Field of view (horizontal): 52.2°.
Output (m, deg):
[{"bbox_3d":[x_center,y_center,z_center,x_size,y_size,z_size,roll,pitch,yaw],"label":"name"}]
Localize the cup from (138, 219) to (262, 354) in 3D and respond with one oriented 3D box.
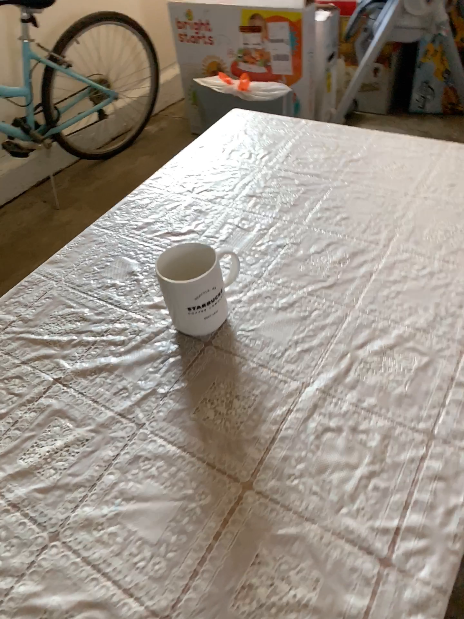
[{"bbox_3d":[-0.039,-0.033,0.666,0.130,0.109,0.090,-39,53,-23],"label":"cup"}]
